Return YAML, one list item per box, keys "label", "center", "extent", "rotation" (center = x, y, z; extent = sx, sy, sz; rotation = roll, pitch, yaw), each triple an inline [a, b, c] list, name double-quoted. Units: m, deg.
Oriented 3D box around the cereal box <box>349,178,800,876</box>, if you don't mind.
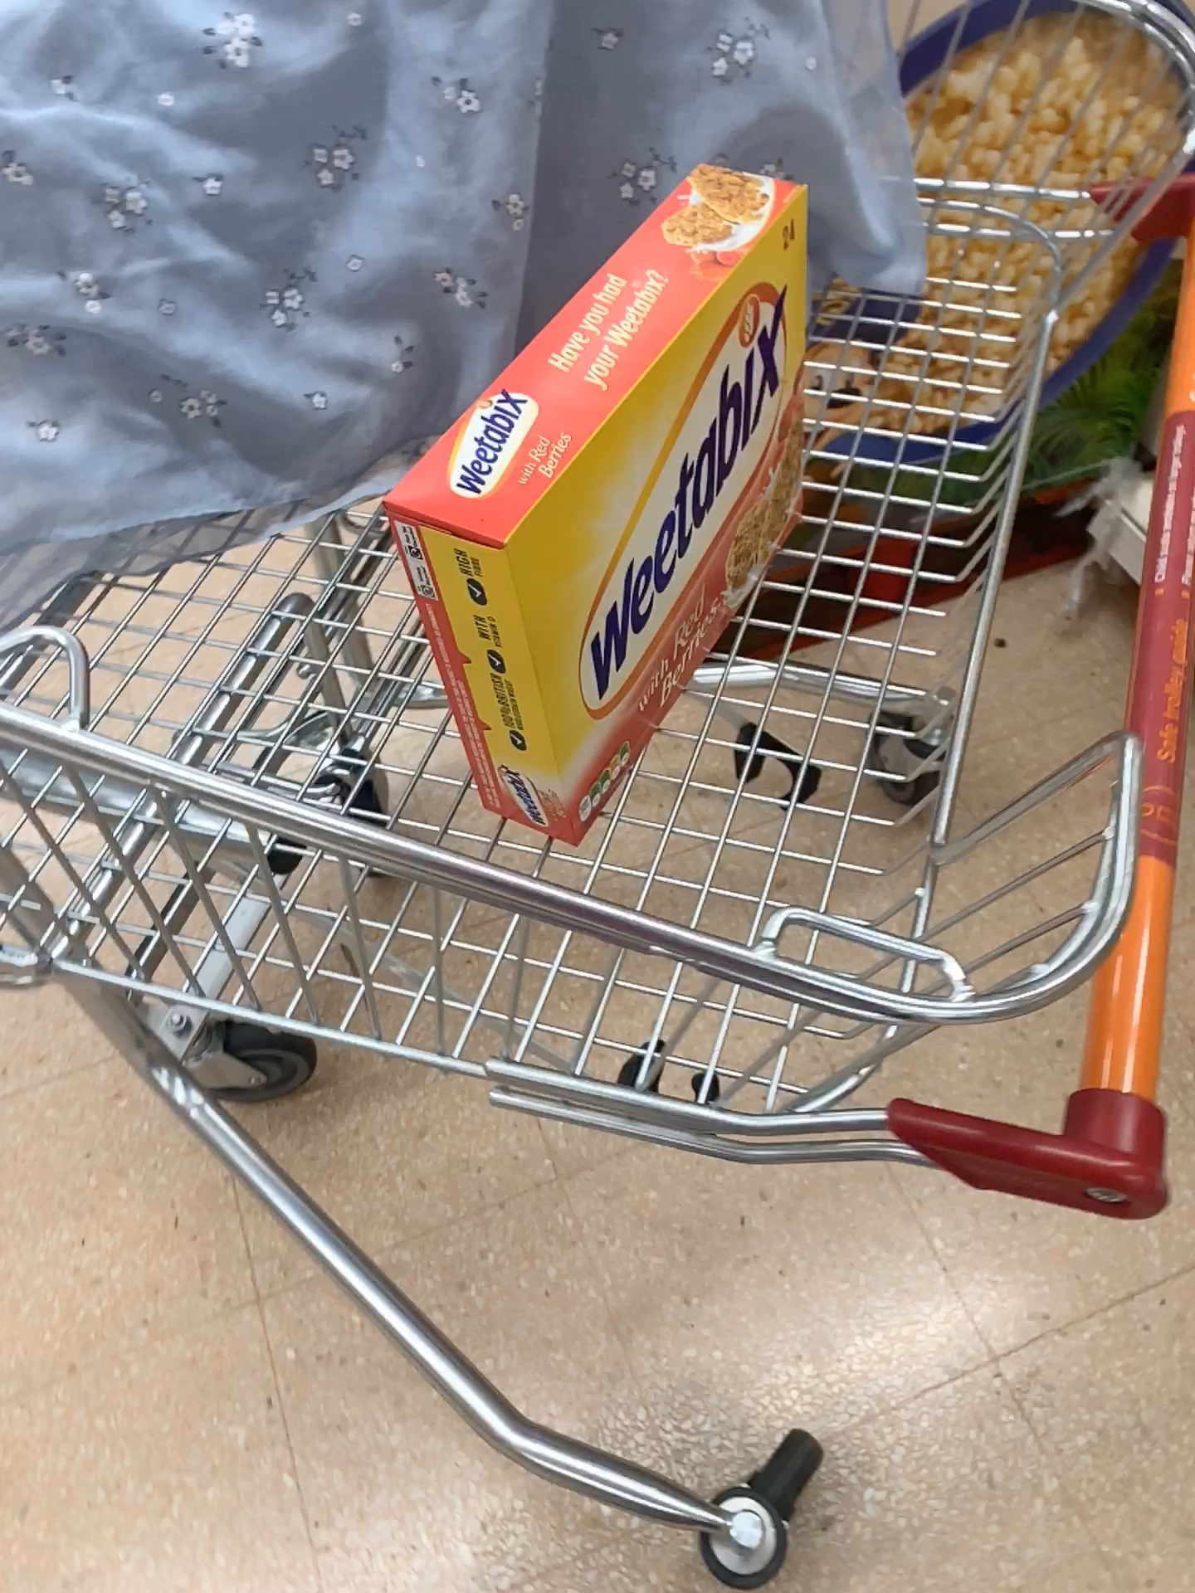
- label: "cereal box"
  center: [0.011, -0.125, 0.562]
  extent: [0.060, 0.188, 0.262]
  rotation: [20, 57, 22]
